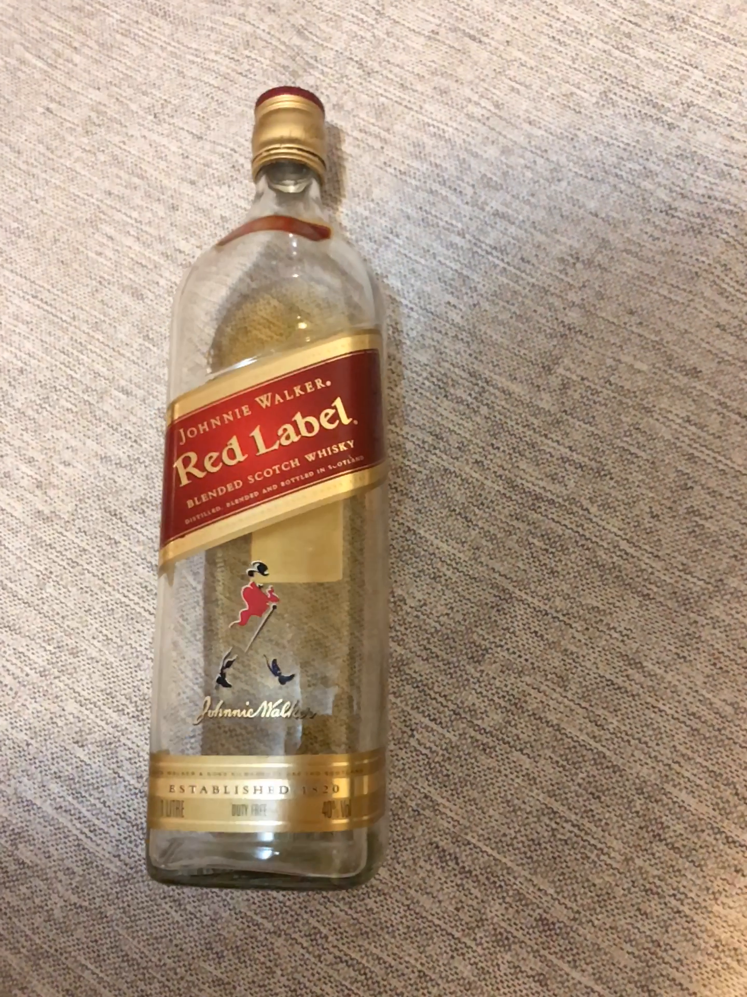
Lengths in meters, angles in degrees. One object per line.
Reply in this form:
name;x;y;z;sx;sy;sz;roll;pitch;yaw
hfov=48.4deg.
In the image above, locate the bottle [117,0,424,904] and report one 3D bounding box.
bottle;-0.029;-0.029;0.305;0.090;0.070;0.310;-1;81;5
